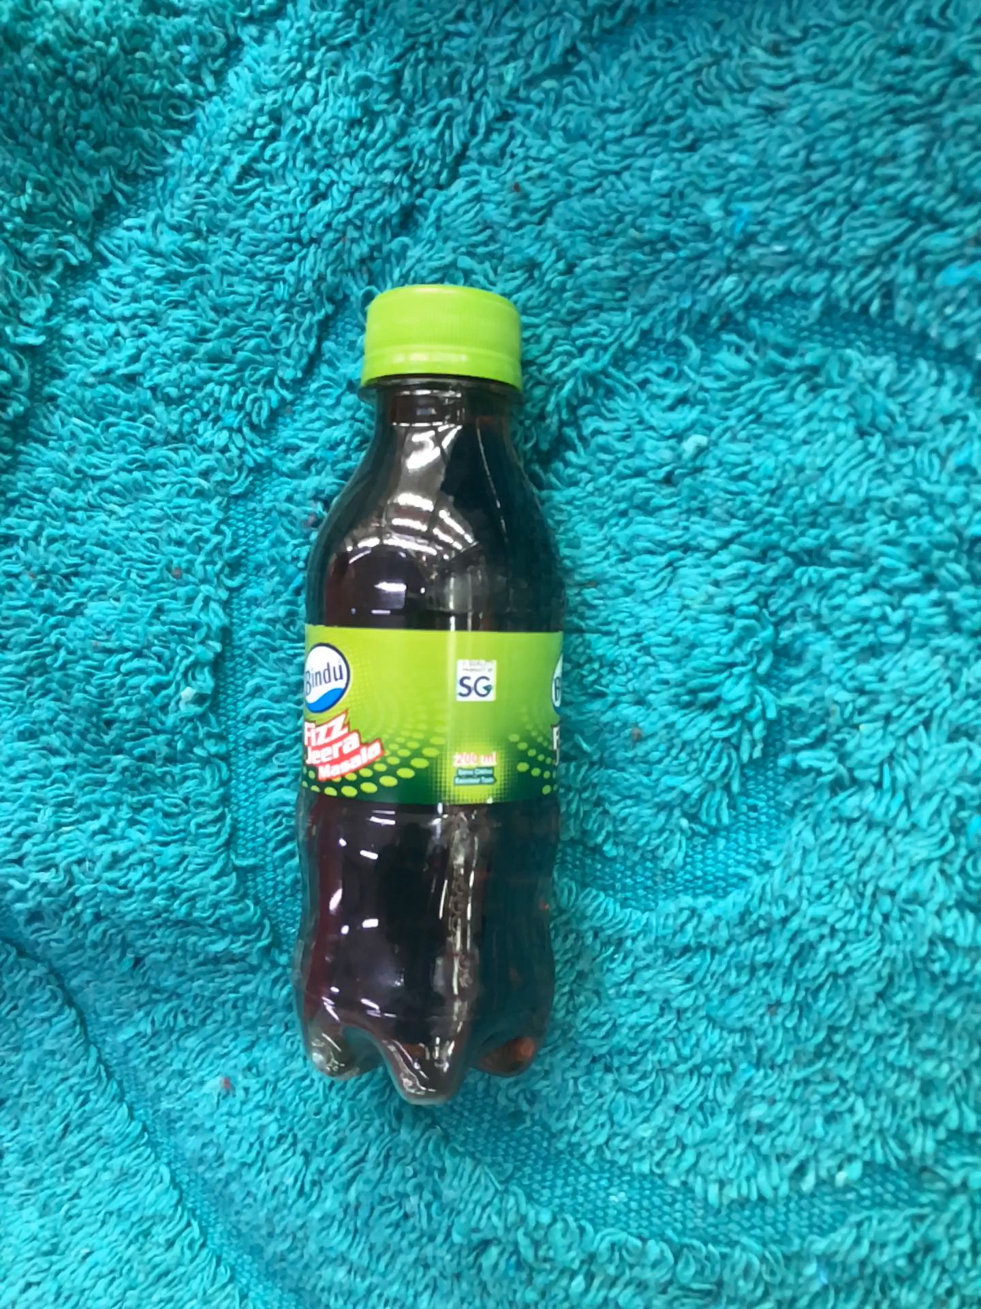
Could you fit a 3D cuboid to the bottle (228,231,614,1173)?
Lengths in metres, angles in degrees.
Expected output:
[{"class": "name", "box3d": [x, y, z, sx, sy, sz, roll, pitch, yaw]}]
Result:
[{"class": "bottle", "box3d": [-0.012, 0.007, 0.207, 0.050, 0.050, 0.150, 4, 97, 36]}]
